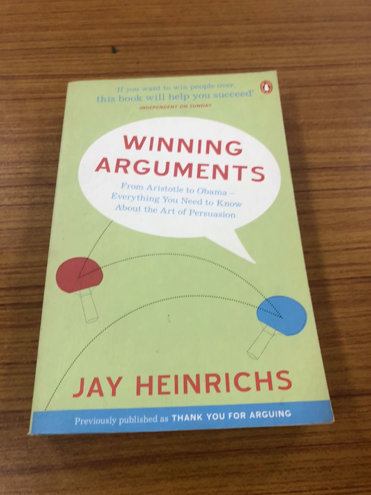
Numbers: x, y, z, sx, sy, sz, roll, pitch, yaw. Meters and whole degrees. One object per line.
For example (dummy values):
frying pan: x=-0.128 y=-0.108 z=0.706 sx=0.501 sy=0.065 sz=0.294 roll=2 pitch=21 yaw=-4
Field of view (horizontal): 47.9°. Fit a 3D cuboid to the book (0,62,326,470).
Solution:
book: x=-0.018 y=-0.006 z=0.219 sx=0.140 sy=0.030 sz=0.210 roll=-2 pitch=67 yaw=-1
